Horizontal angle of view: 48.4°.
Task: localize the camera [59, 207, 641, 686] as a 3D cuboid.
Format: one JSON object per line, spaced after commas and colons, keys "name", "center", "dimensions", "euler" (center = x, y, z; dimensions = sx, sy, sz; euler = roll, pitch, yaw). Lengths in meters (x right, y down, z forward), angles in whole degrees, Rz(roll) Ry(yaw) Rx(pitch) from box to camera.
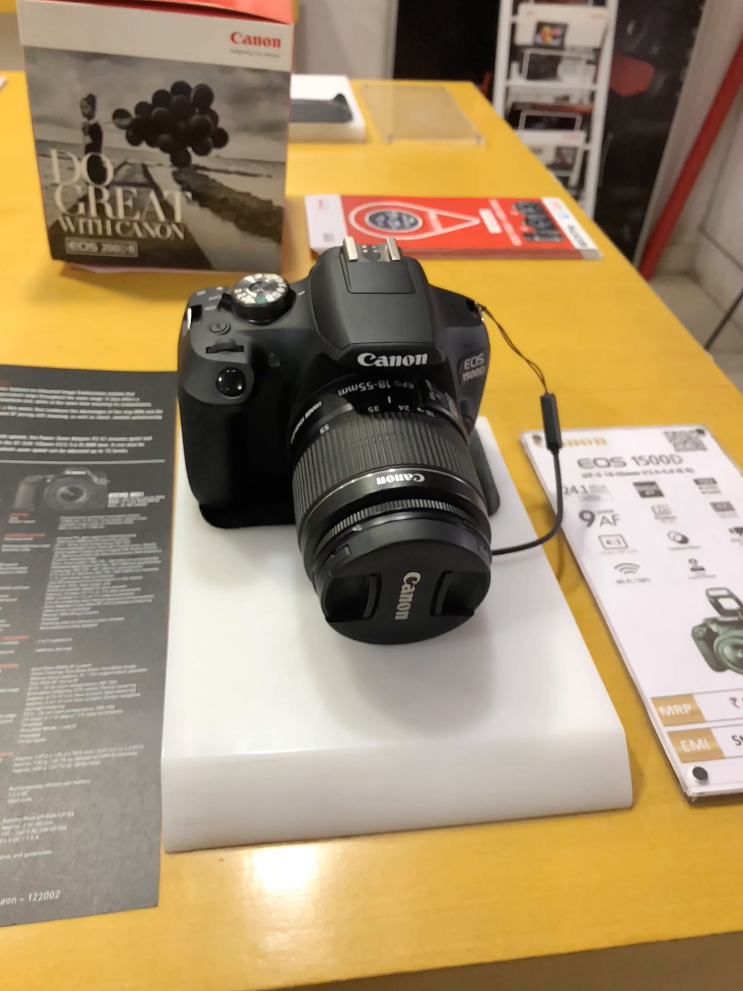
{"name": "camera", "center": [-0.015, -0.027, 0.279], "dimensions": [0.140, 0.089, 0.141], "euler": [-3, 39, -9]}
